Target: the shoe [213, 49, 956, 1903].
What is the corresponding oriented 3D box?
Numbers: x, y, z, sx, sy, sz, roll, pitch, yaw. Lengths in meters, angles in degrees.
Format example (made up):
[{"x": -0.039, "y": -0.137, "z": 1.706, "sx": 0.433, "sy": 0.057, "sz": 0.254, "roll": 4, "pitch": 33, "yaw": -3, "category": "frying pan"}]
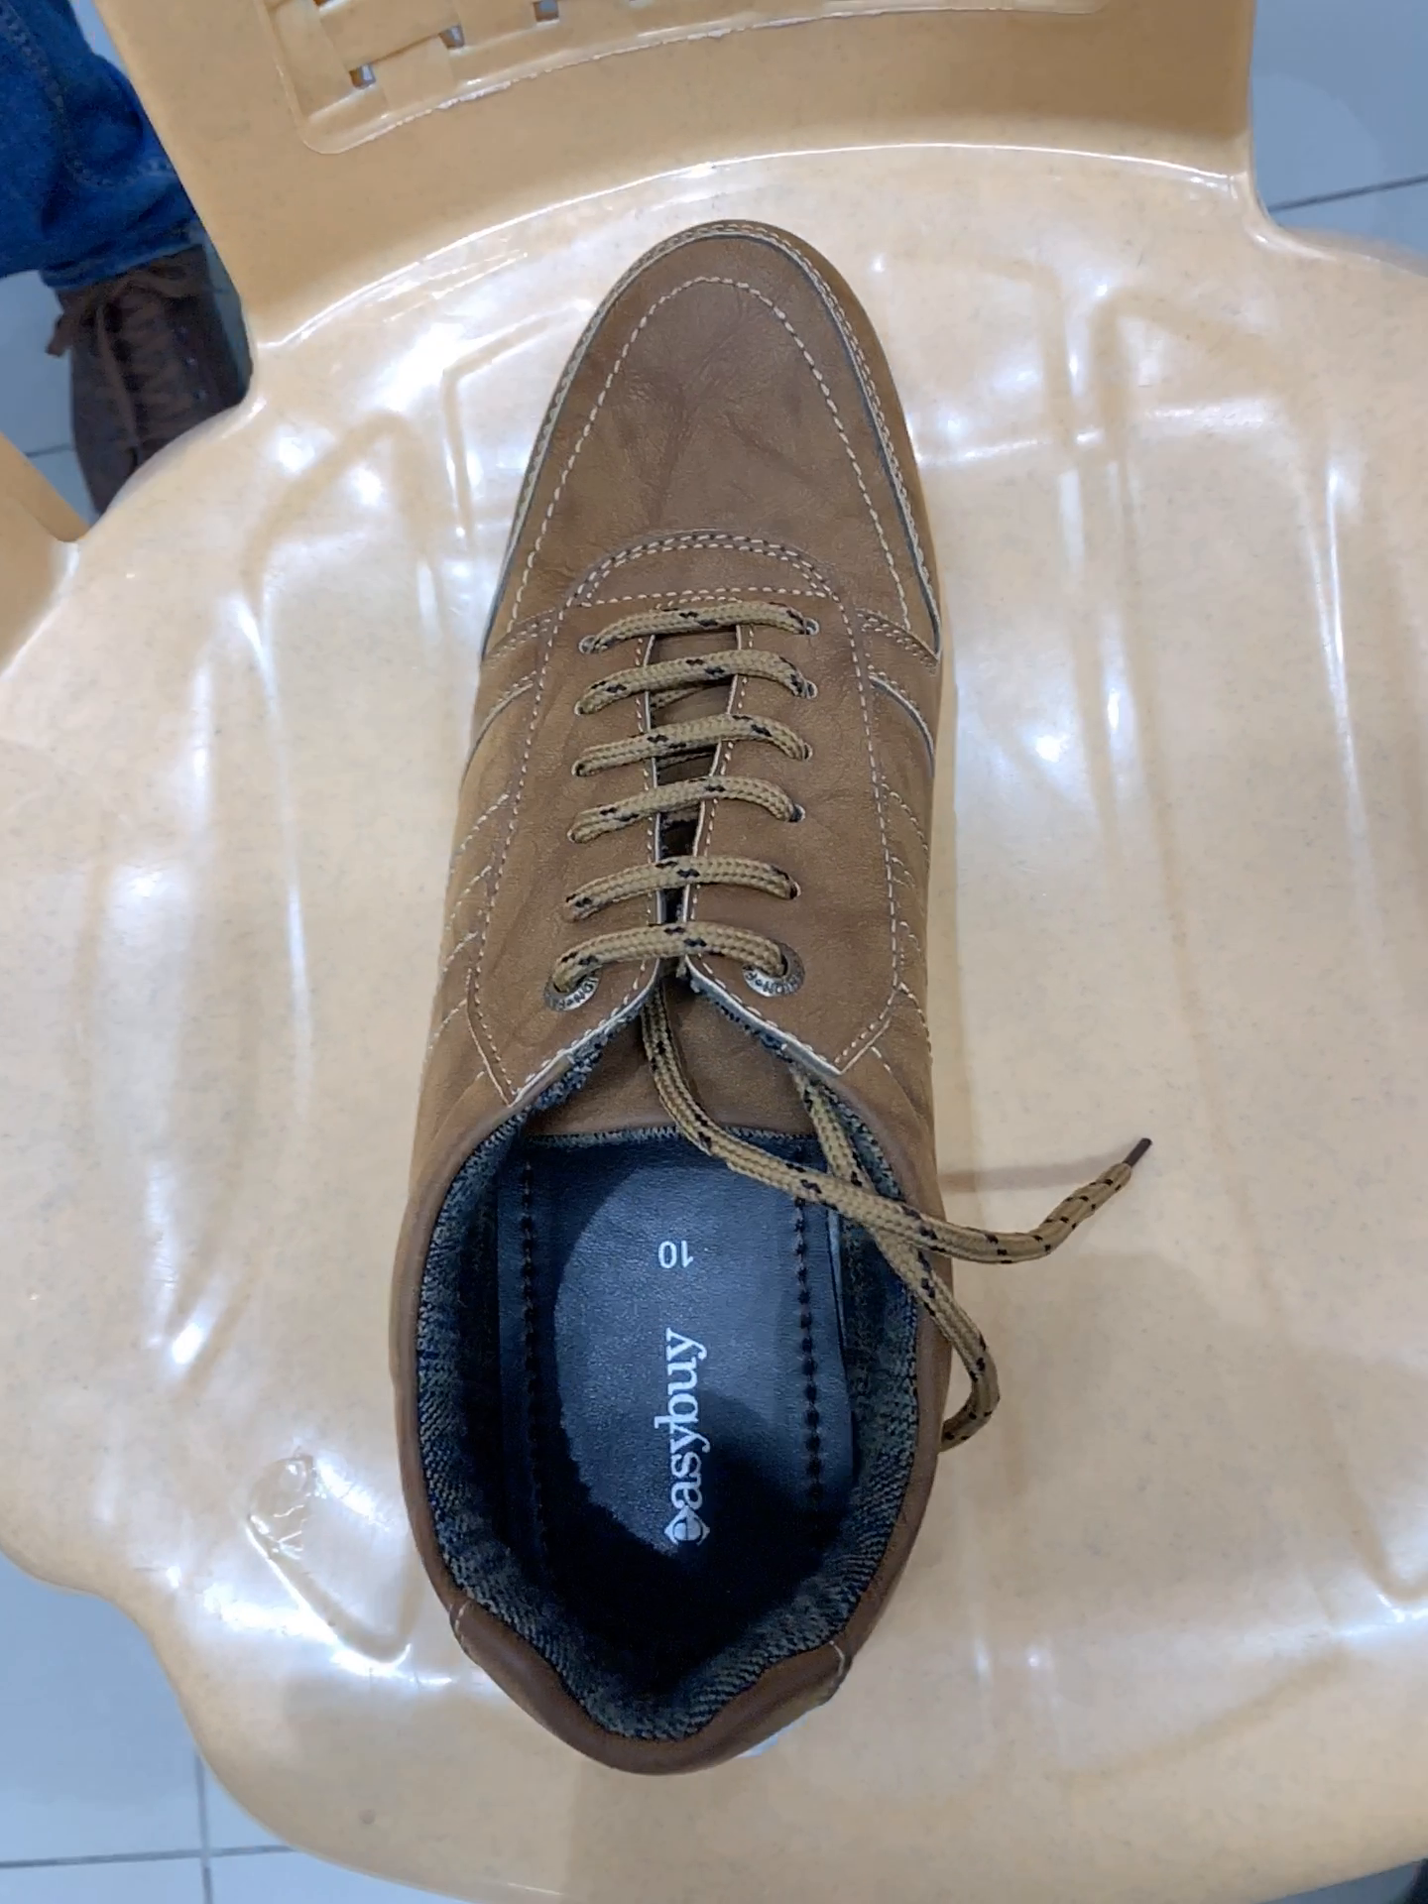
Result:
[{"x": -0.007, "y": -0.007, "z": 0.288, "sx": 0.100, "sy": 0.100, "sz": 0.310, "roll": -1, "pitch": 72, "yaw": 10, "category": "shoe"}]
